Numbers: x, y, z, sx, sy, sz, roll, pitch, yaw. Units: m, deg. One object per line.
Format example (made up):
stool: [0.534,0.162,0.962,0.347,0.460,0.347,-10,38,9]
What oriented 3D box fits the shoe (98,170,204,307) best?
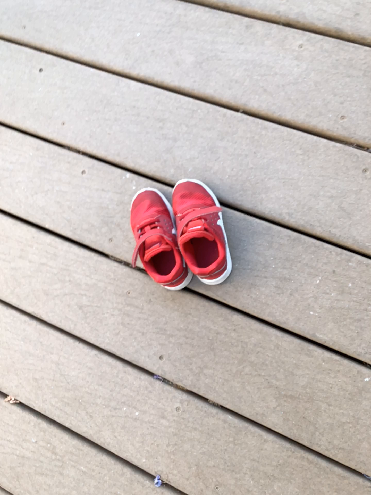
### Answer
shoe: [-0.047,-0.010,0.594,0.077,0.087,0.167,-23,82,10]

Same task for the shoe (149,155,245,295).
shoe: [0.019,-0.027,0.573,0.077,0.087,0.167,-17,83,11]
